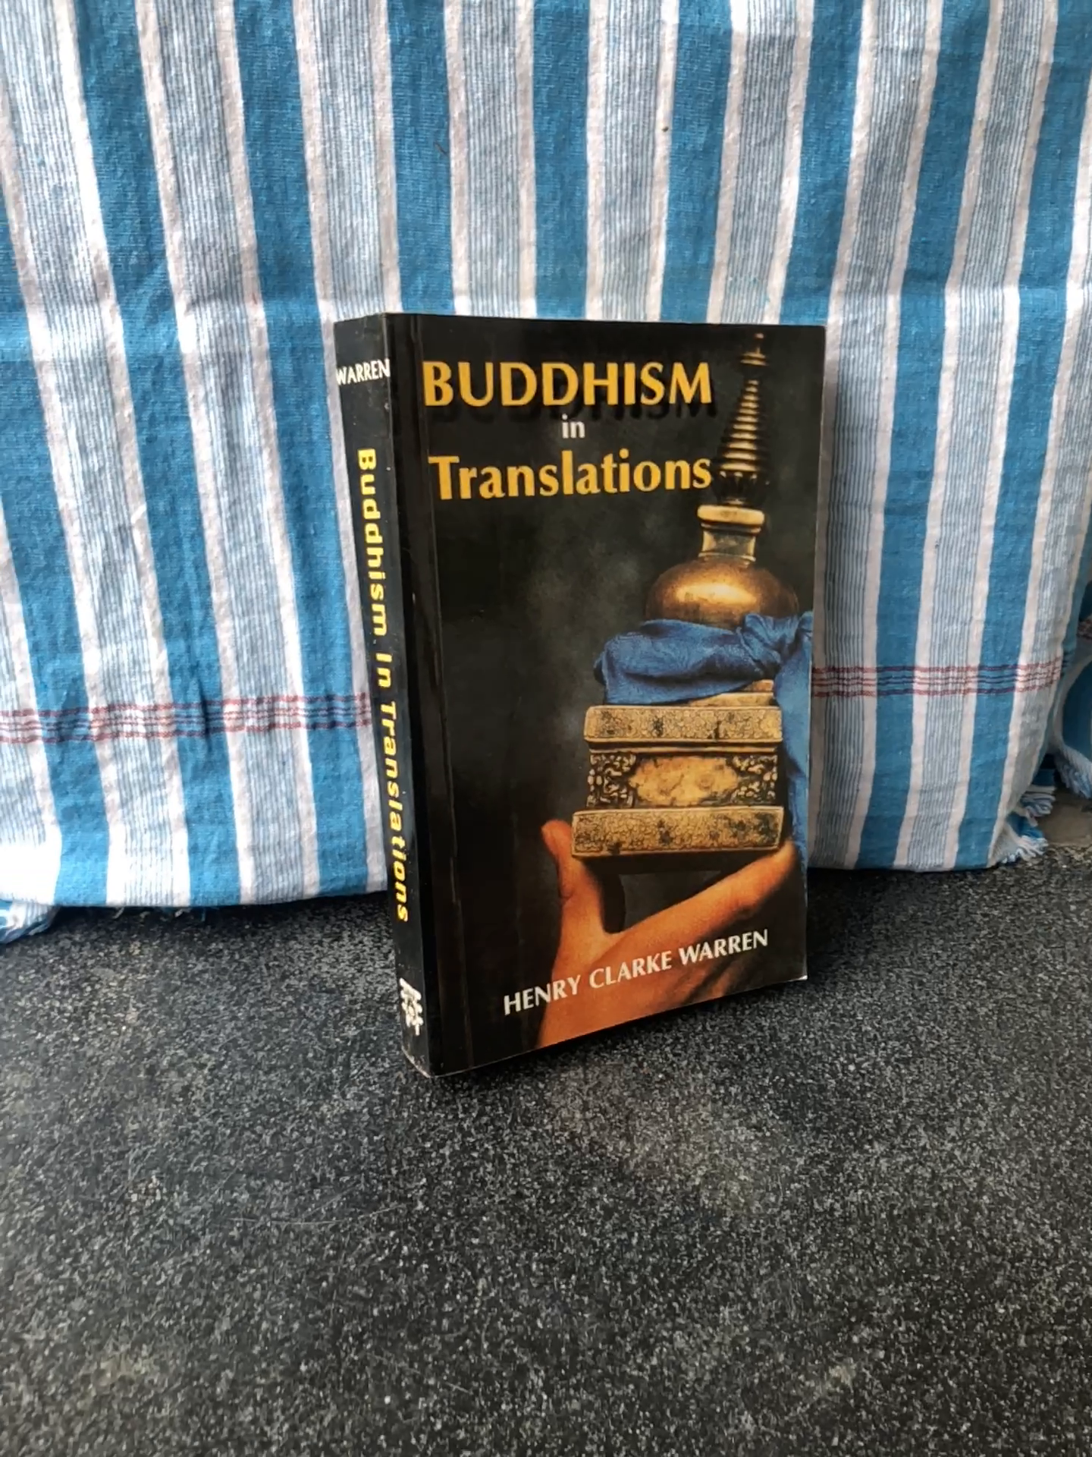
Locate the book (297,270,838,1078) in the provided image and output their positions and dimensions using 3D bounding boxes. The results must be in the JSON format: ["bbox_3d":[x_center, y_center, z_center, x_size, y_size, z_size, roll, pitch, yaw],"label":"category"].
[{"bbox_3d":[0.011,-0.021,0.367,0.140,0.210,0.050,-8,7,-26],"label":"book"}]
